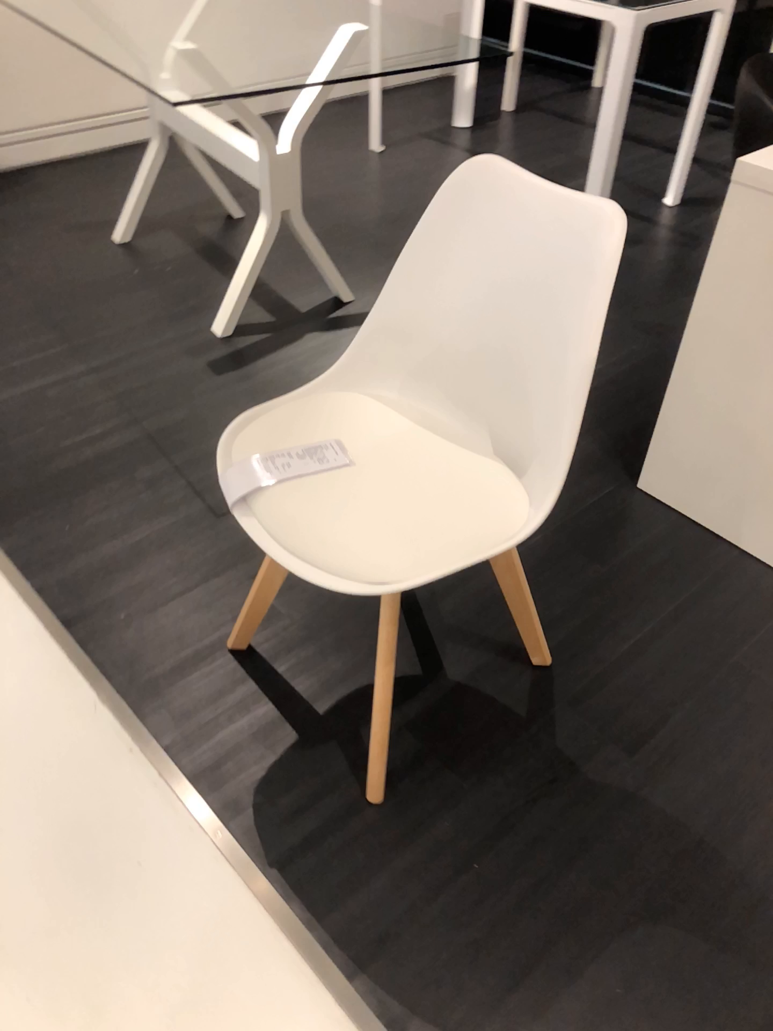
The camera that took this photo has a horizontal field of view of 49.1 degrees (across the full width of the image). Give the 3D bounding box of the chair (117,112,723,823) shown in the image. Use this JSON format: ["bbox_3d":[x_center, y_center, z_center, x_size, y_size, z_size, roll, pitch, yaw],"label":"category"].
[{"bbox_3d":[0.022,-0.083,1.269,0.532,0.784,0.502,-27,49,-31],"label":"chair"}]
